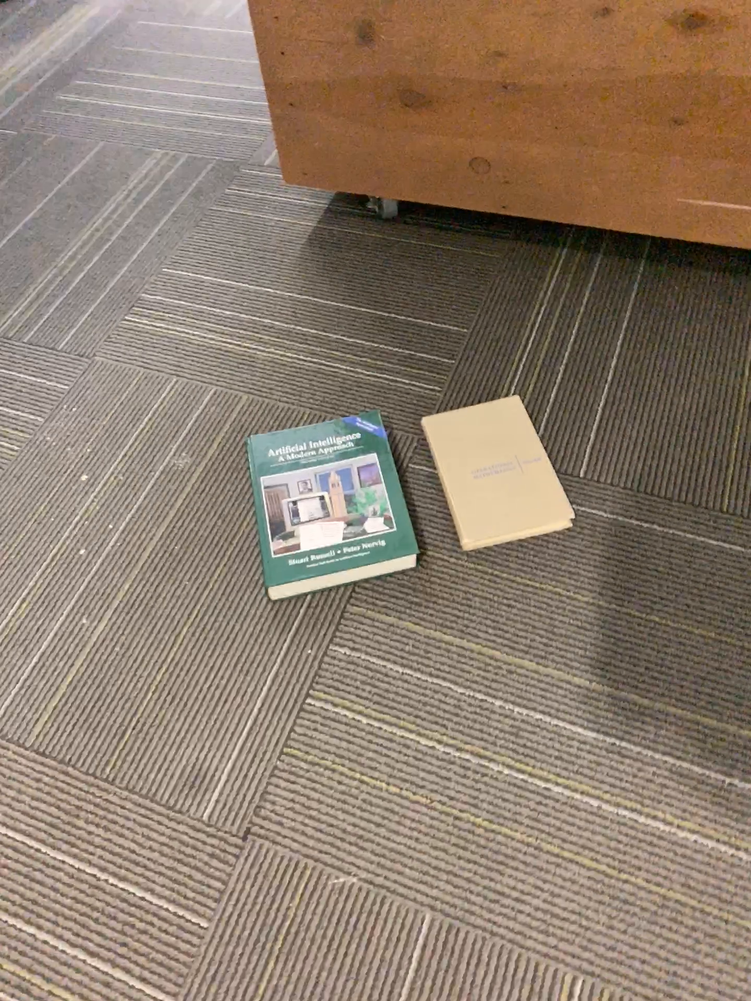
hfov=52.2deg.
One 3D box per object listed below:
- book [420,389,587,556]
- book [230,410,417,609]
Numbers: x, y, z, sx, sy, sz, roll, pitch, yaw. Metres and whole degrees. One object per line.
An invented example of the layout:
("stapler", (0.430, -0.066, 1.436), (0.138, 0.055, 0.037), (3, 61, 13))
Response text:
("book", (0.177, -0.047, 1.110), (0.170, 0.030, 0.241), (-13, 55, -3))
("book", (-0.083, 0.003, 1.103), (0.221, 0.030, 0.277), (-13, 55, -3))
